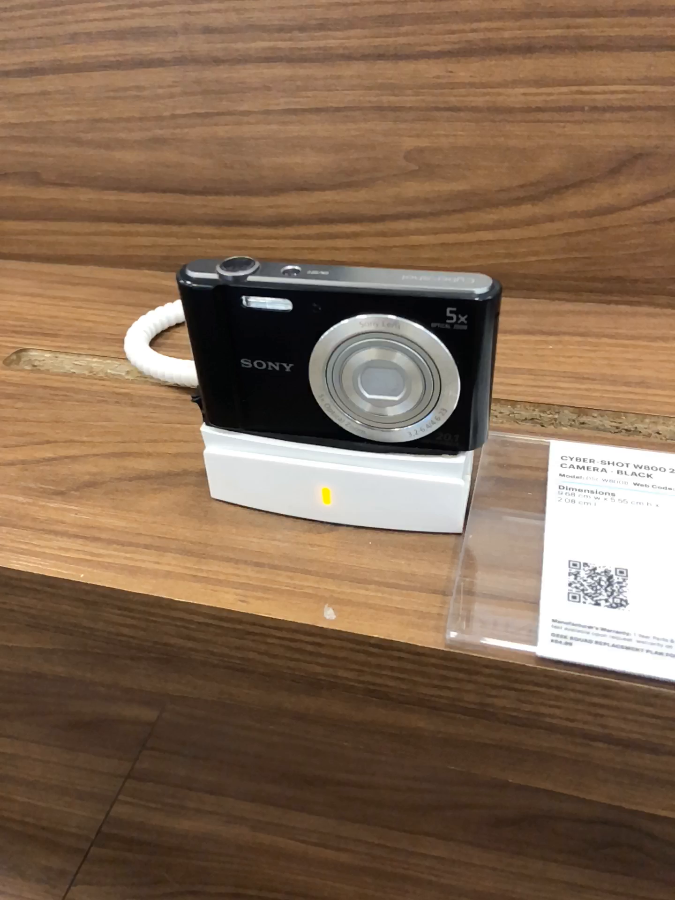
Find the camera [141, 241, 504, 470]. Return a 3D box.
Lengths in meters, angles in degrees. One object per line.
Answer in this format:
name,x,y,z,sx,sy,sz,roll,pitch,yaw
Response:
camera,-0.003,-0.029,0.230,0.100,0.060,0.020,7,43,14
